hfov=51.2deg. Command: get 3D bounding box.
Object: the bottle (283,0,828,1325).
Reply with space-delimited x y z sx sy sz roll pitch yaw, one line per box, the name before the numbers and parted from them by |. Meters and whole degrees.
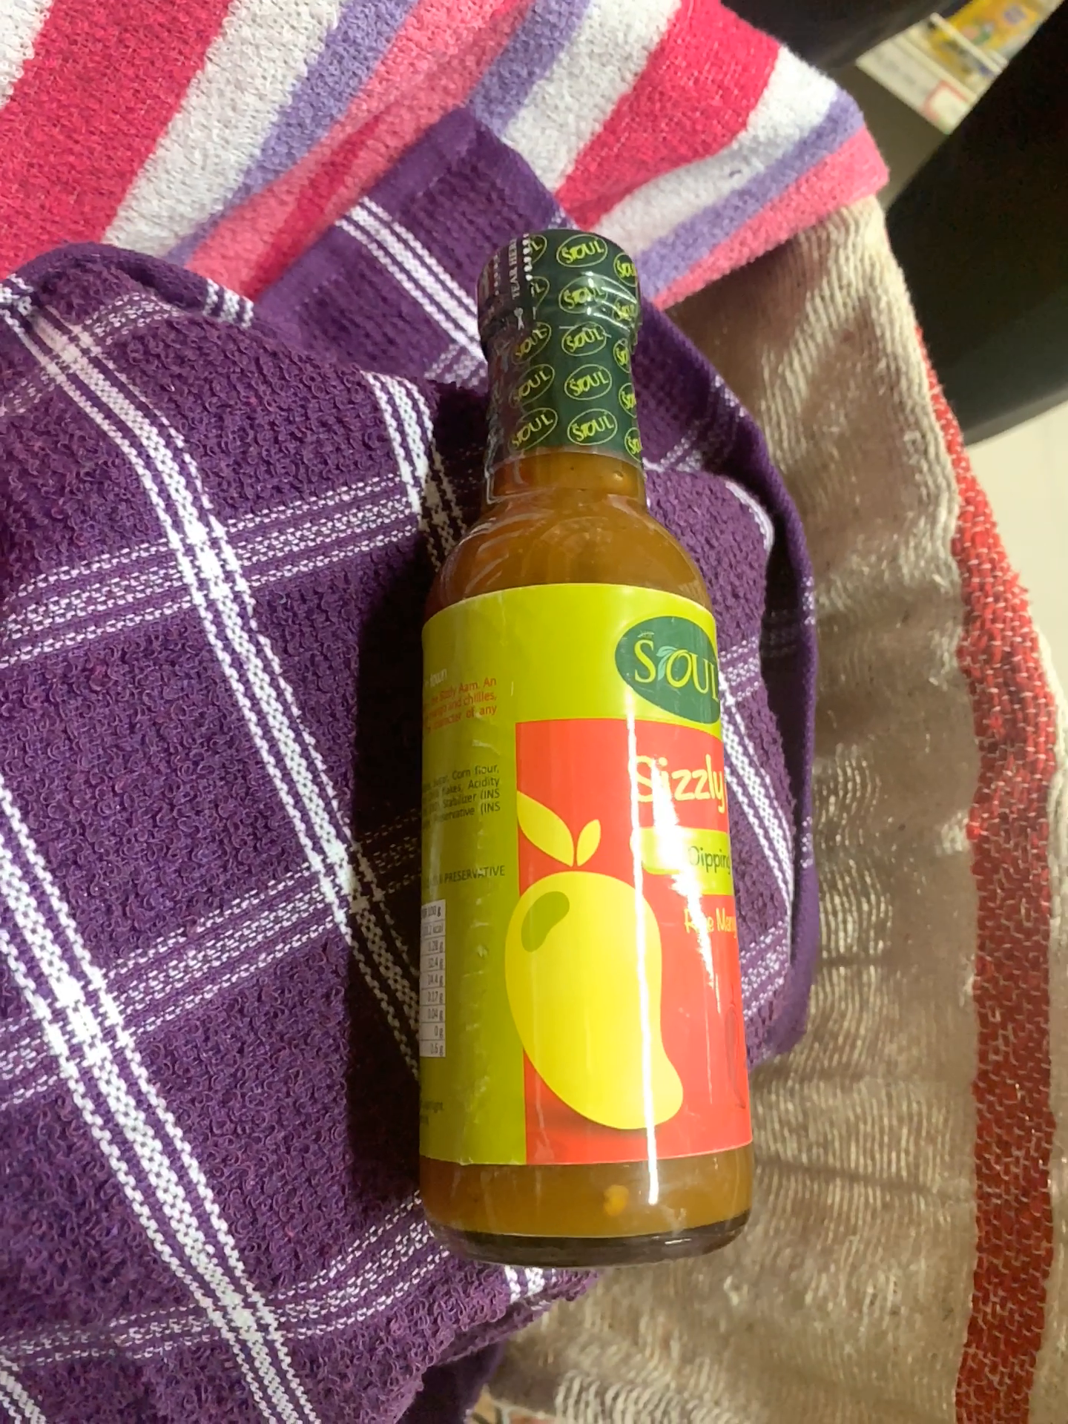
bottle | -0.001 -0.014 0.197 0.060 0.060 0.200 8 72 -32
